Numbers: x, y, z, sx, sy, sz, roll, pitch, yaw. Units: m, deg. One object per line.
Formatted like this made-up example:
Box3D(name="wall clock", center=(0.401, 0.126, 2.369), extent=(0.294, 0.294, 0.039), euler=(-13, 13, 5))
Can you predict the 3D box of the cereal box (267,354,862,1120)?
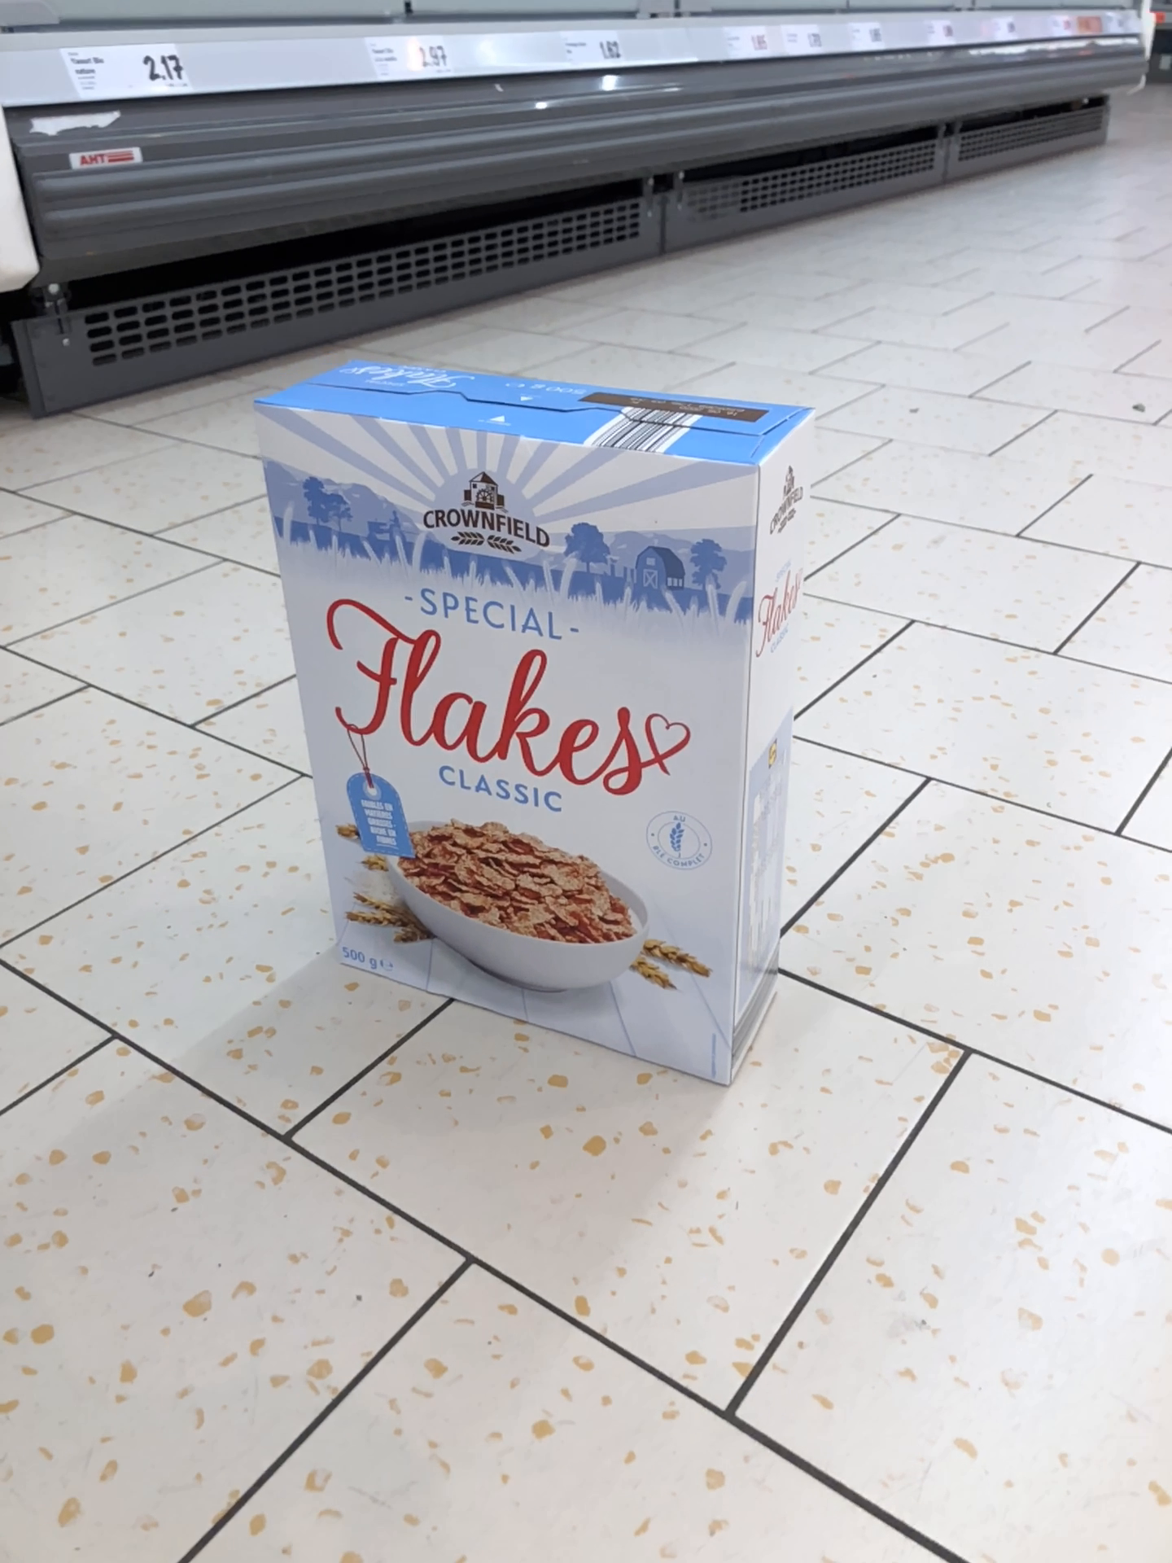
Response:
Box3D(name="cereal box", center=(-0.008, -0.018, 0.518), extent=(0.200, 0.268, 0.070), euler=(14, 33, 24))
